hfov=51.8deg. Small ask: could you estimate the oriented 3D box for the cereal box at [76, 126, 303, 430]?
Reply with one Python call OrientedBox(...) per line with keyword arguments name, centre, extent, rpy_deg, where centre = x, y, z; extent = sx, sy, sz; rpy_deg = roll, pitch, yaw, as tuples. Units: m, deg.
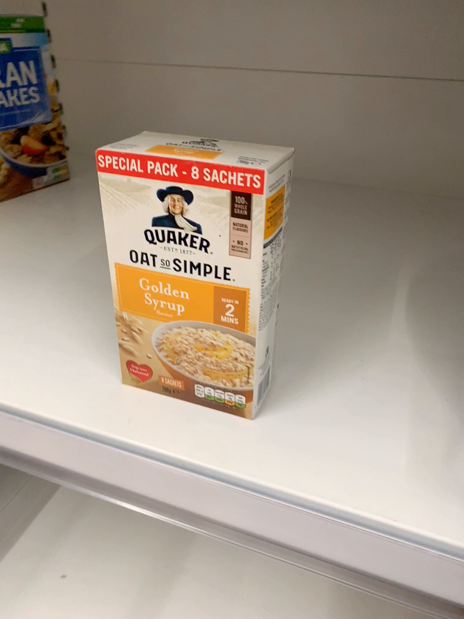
OrientedBox(name="cereal box", centre=(-0.030, -0.025, 0.381), extent=(0.140, 0.208, 0.071), rpy_deg=(12, 30, 17))
